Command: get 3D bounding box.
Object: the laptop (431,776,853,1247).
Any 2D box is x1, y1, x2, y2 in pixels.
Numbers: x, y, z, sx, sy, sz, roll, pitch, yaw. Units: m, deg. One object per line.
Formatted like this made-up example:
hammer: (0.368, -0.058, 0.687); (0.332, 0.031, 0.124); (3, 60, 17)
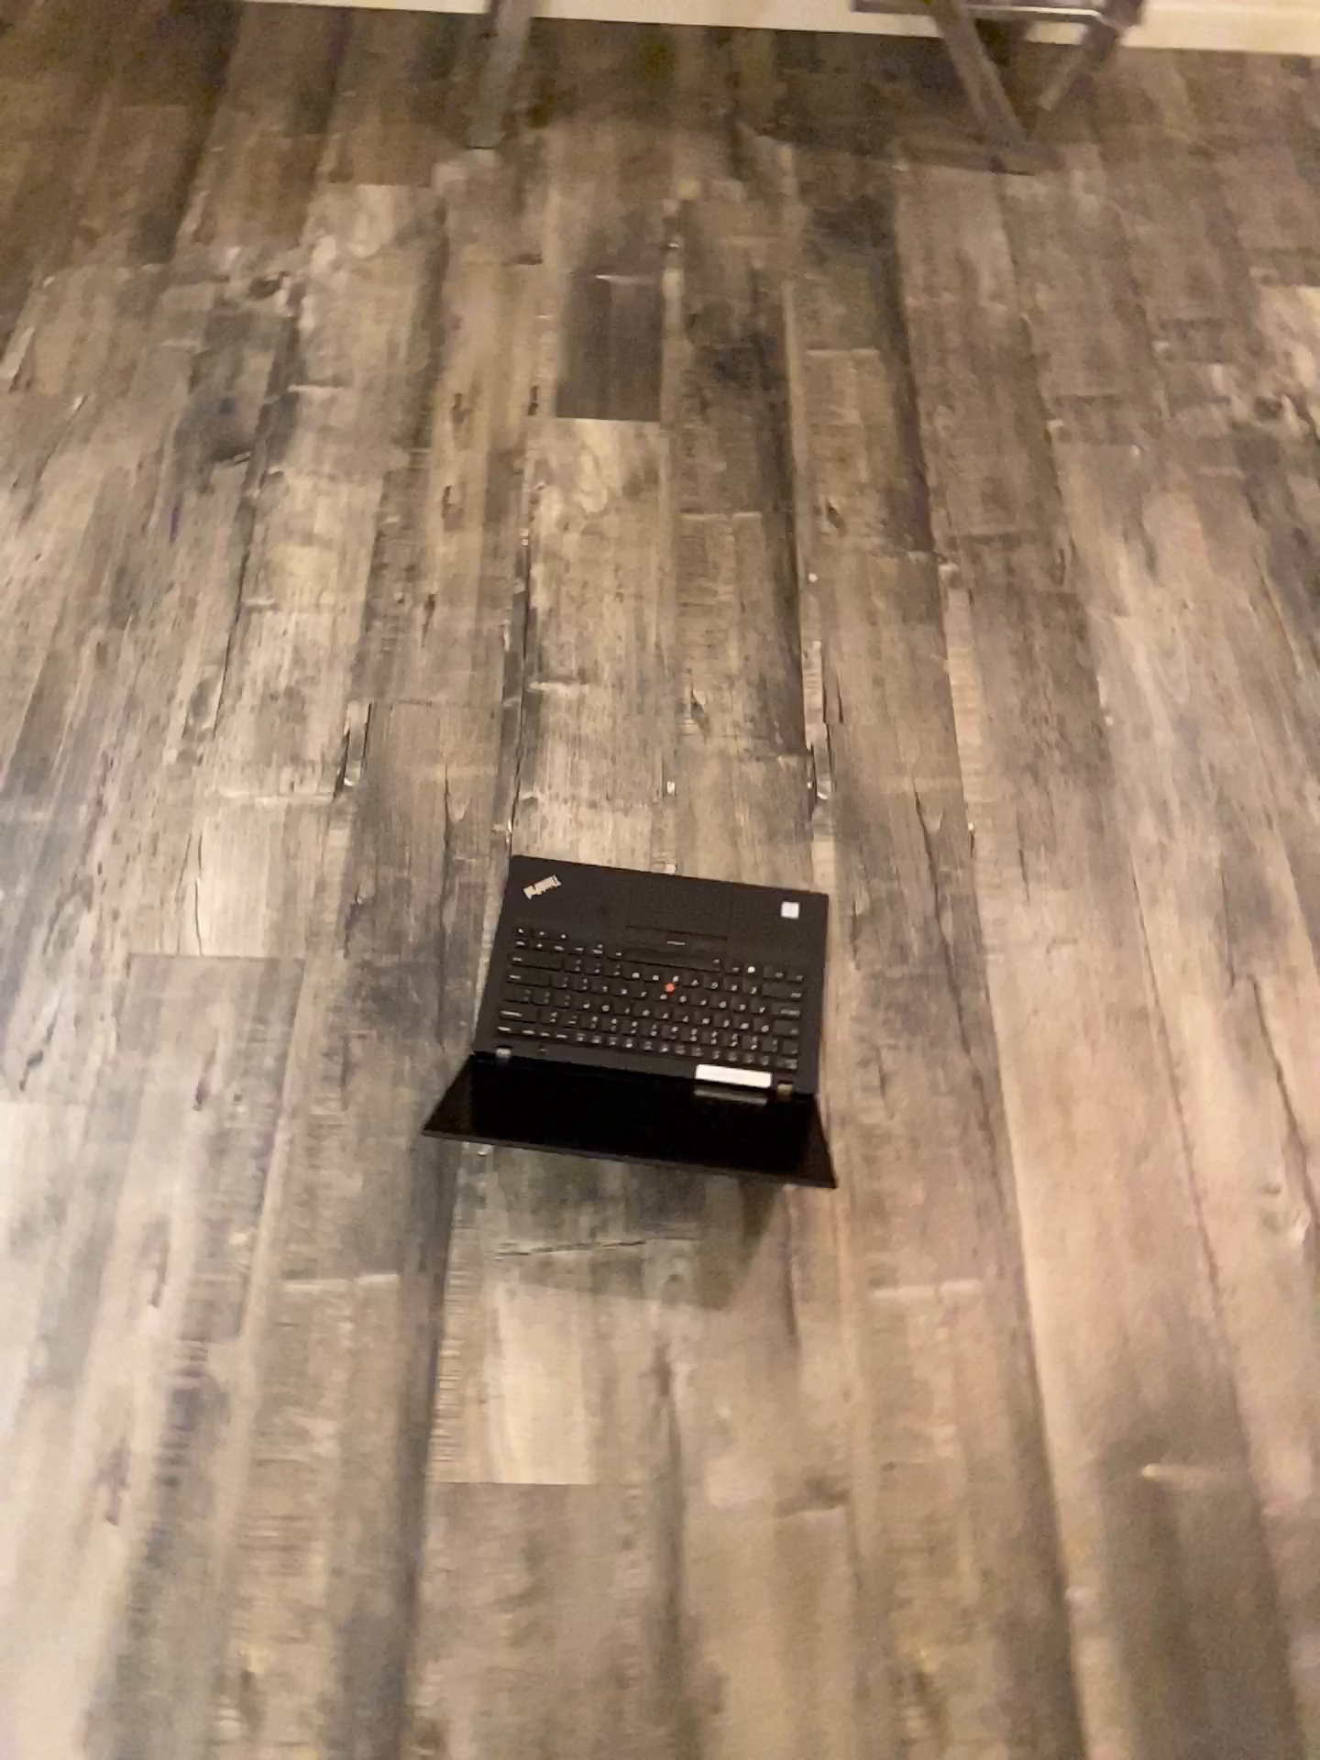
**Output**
laptop: (-0.003, 0.108, 1.184); (0.319, 0.149, 0.357); (7, 56, 1)
